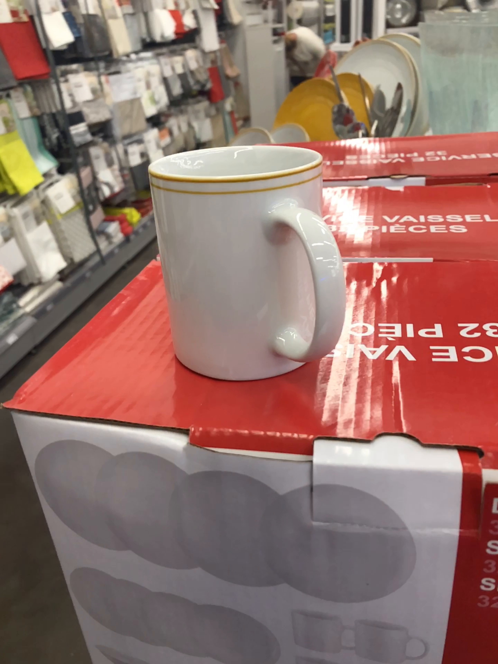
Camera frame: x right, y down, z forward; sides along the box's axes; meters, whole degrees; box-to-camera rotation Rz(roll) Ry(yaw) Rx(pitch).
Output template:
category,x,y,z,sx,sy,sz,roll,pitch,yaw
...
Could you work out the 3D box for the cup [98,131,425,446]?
category,x,y,z,sx,sy,sz,roll,pitch,yaw
cup,0.000,-0.032,0.259,0.096,0.091,0.116,-17,32,-23
